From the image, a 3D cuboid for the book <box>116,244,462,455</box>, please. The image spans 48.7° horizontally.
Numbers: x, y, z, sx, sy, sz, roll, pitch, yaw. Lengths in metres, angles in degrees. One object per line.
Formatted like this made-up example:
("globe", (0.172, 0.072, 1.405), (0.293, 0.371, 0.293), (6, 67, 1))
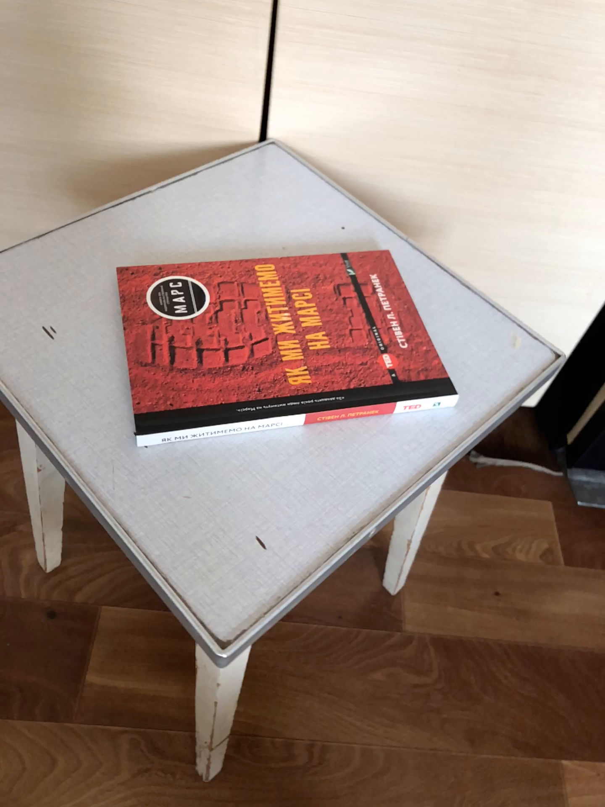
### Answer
("book", (-0.015, -0.047, 0.461), (0.208, 0.020, 0.151), (-7, 55, -14))
